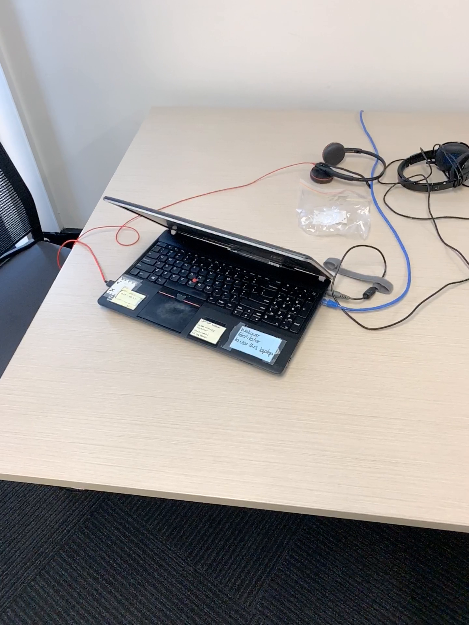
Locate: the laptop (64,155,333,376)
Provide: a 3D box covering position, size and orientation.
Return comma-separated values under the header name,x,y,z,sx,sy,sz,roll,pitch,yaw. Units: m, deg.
name,x,y,z,sx,sy,sz,roll,pitch,yaw
laptop,-0.043,-0.091,0.734,0.326,0.157,0.227,19,47,21
